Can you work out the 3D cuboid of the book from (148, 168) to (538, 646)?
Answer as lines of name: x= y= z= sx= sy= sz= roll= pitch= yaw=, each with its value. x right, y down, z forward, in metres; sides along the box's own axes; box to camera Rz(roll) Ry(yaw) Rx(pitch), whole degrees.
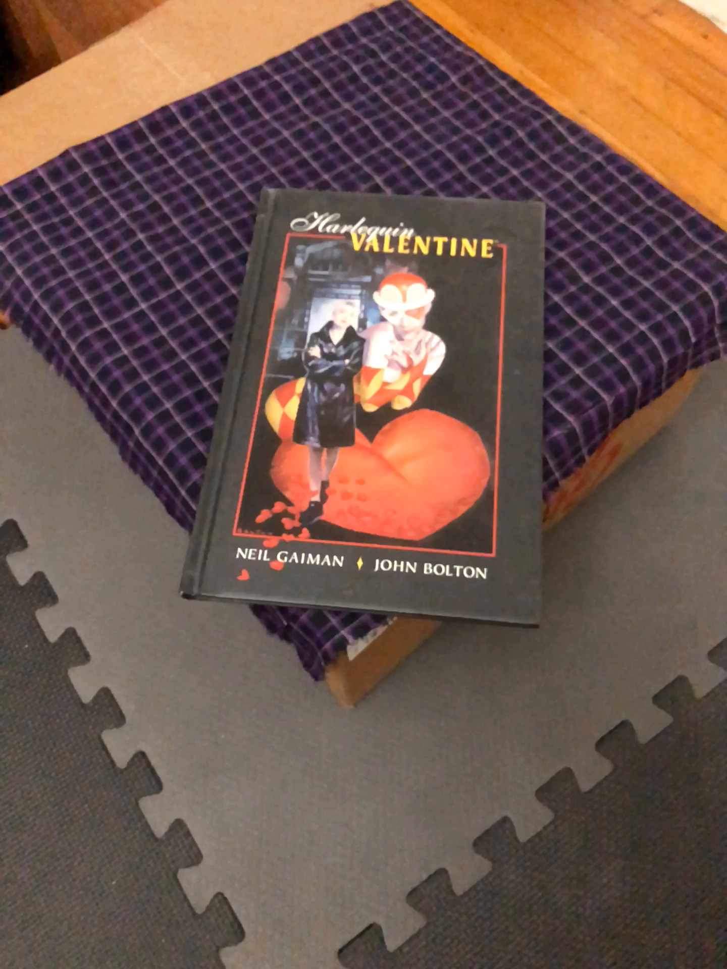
book: x=0.001 y=-0.059 z=0.441 sx=0.180 sy=0.020 sz=0.281 roll=4 pitch=64 yaw=3
